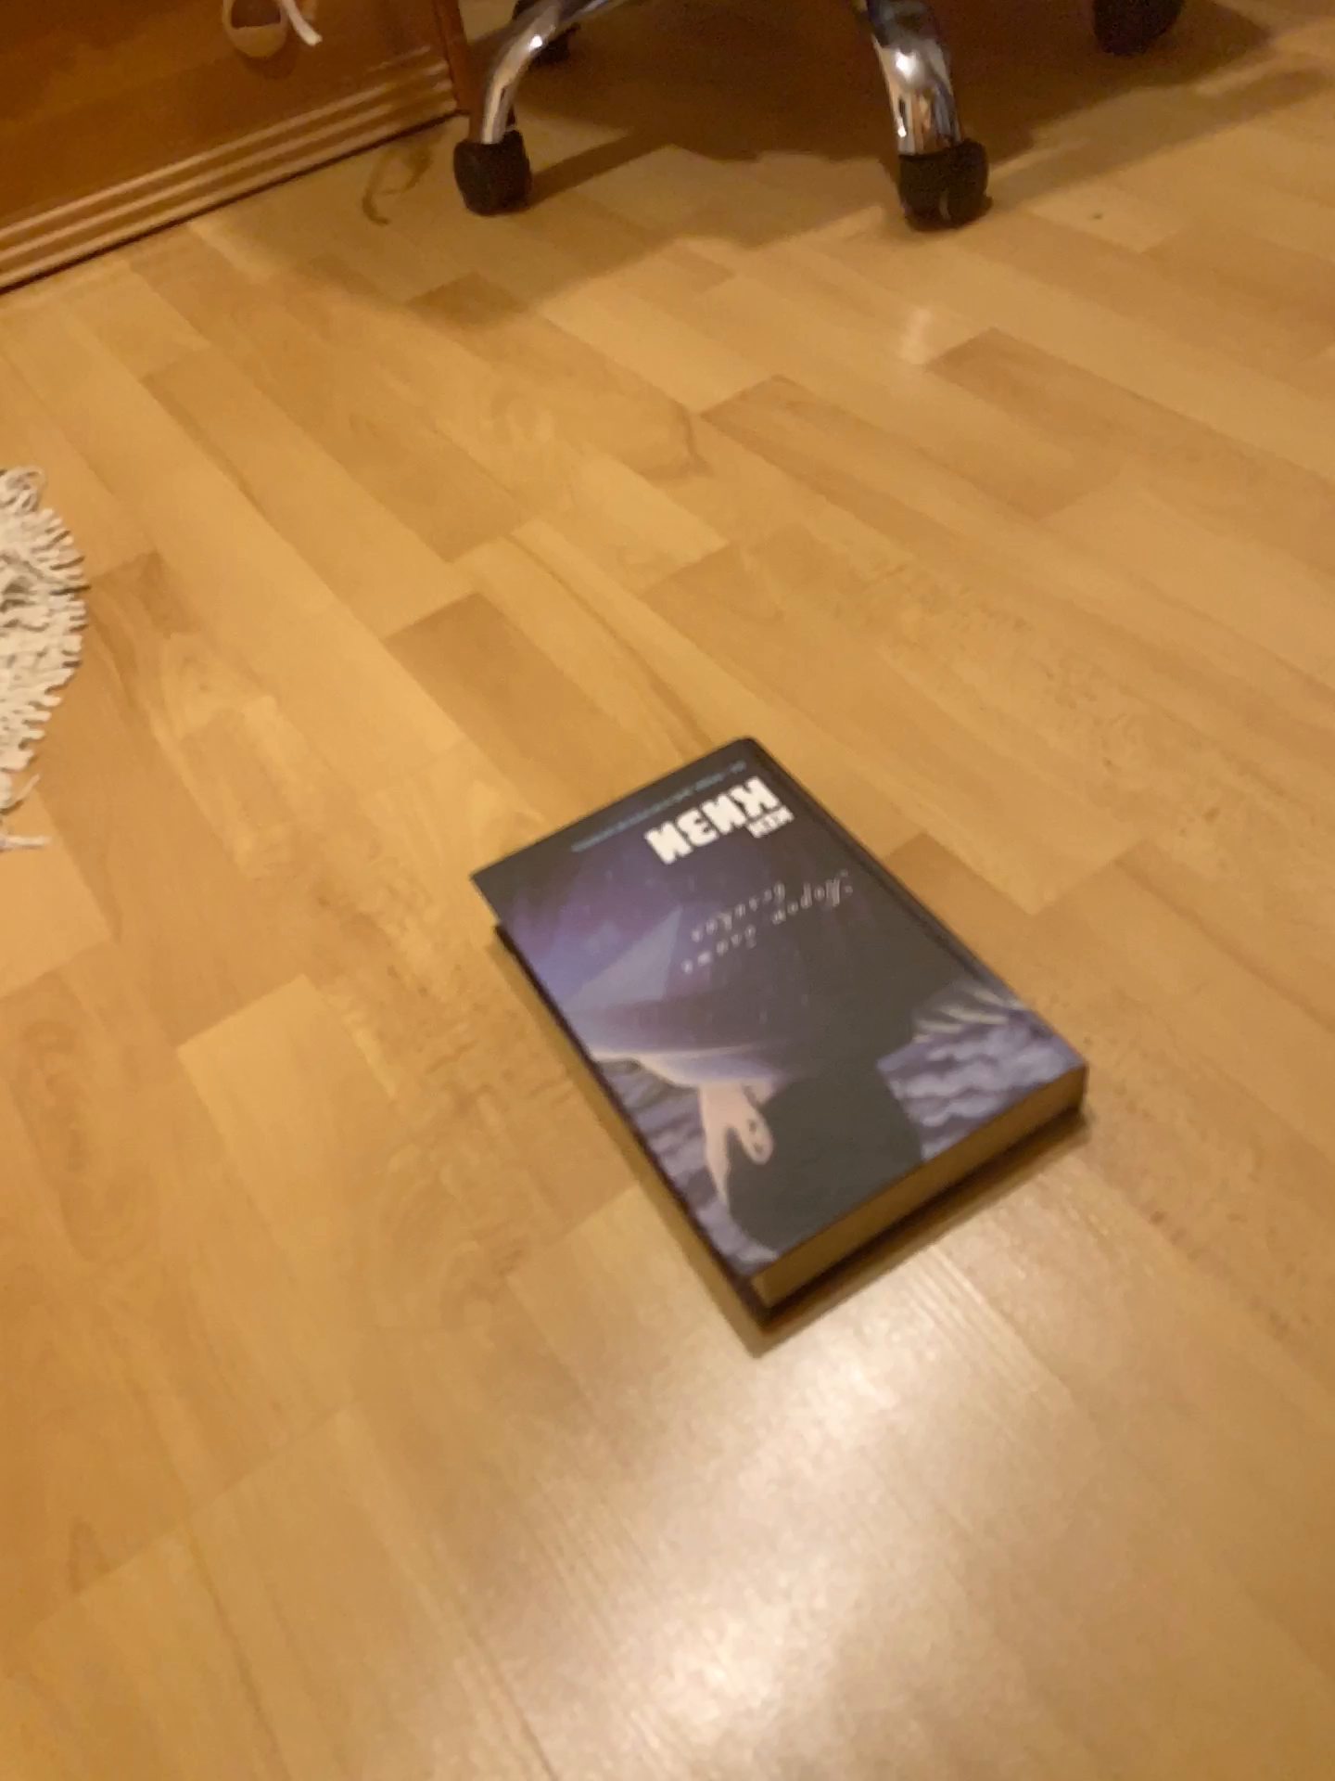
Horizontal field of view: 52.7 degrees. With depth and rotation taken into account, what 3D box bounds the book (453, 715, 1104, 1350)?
[{"bbox_3d":[0.033,0.040,0.534,0.150,0.050,0.225,-27,50,-15],"label":"book"}]
